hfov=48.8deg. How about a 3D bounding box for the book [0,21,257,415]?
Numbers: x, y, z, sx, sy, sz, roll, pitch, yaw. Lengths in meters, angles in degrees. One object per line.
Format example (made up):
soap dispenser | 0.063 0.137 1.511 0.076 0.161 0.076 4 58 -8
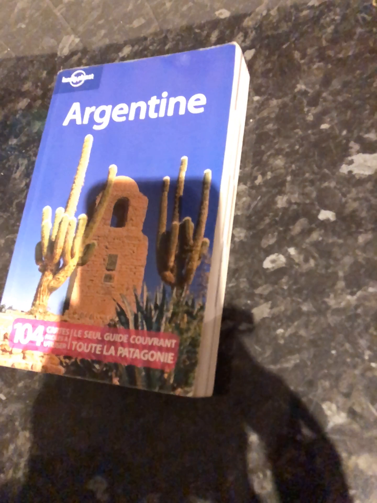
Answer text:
book | -0.037 -0.028 0.244 0.130 0.030 0.210 2 73 21
